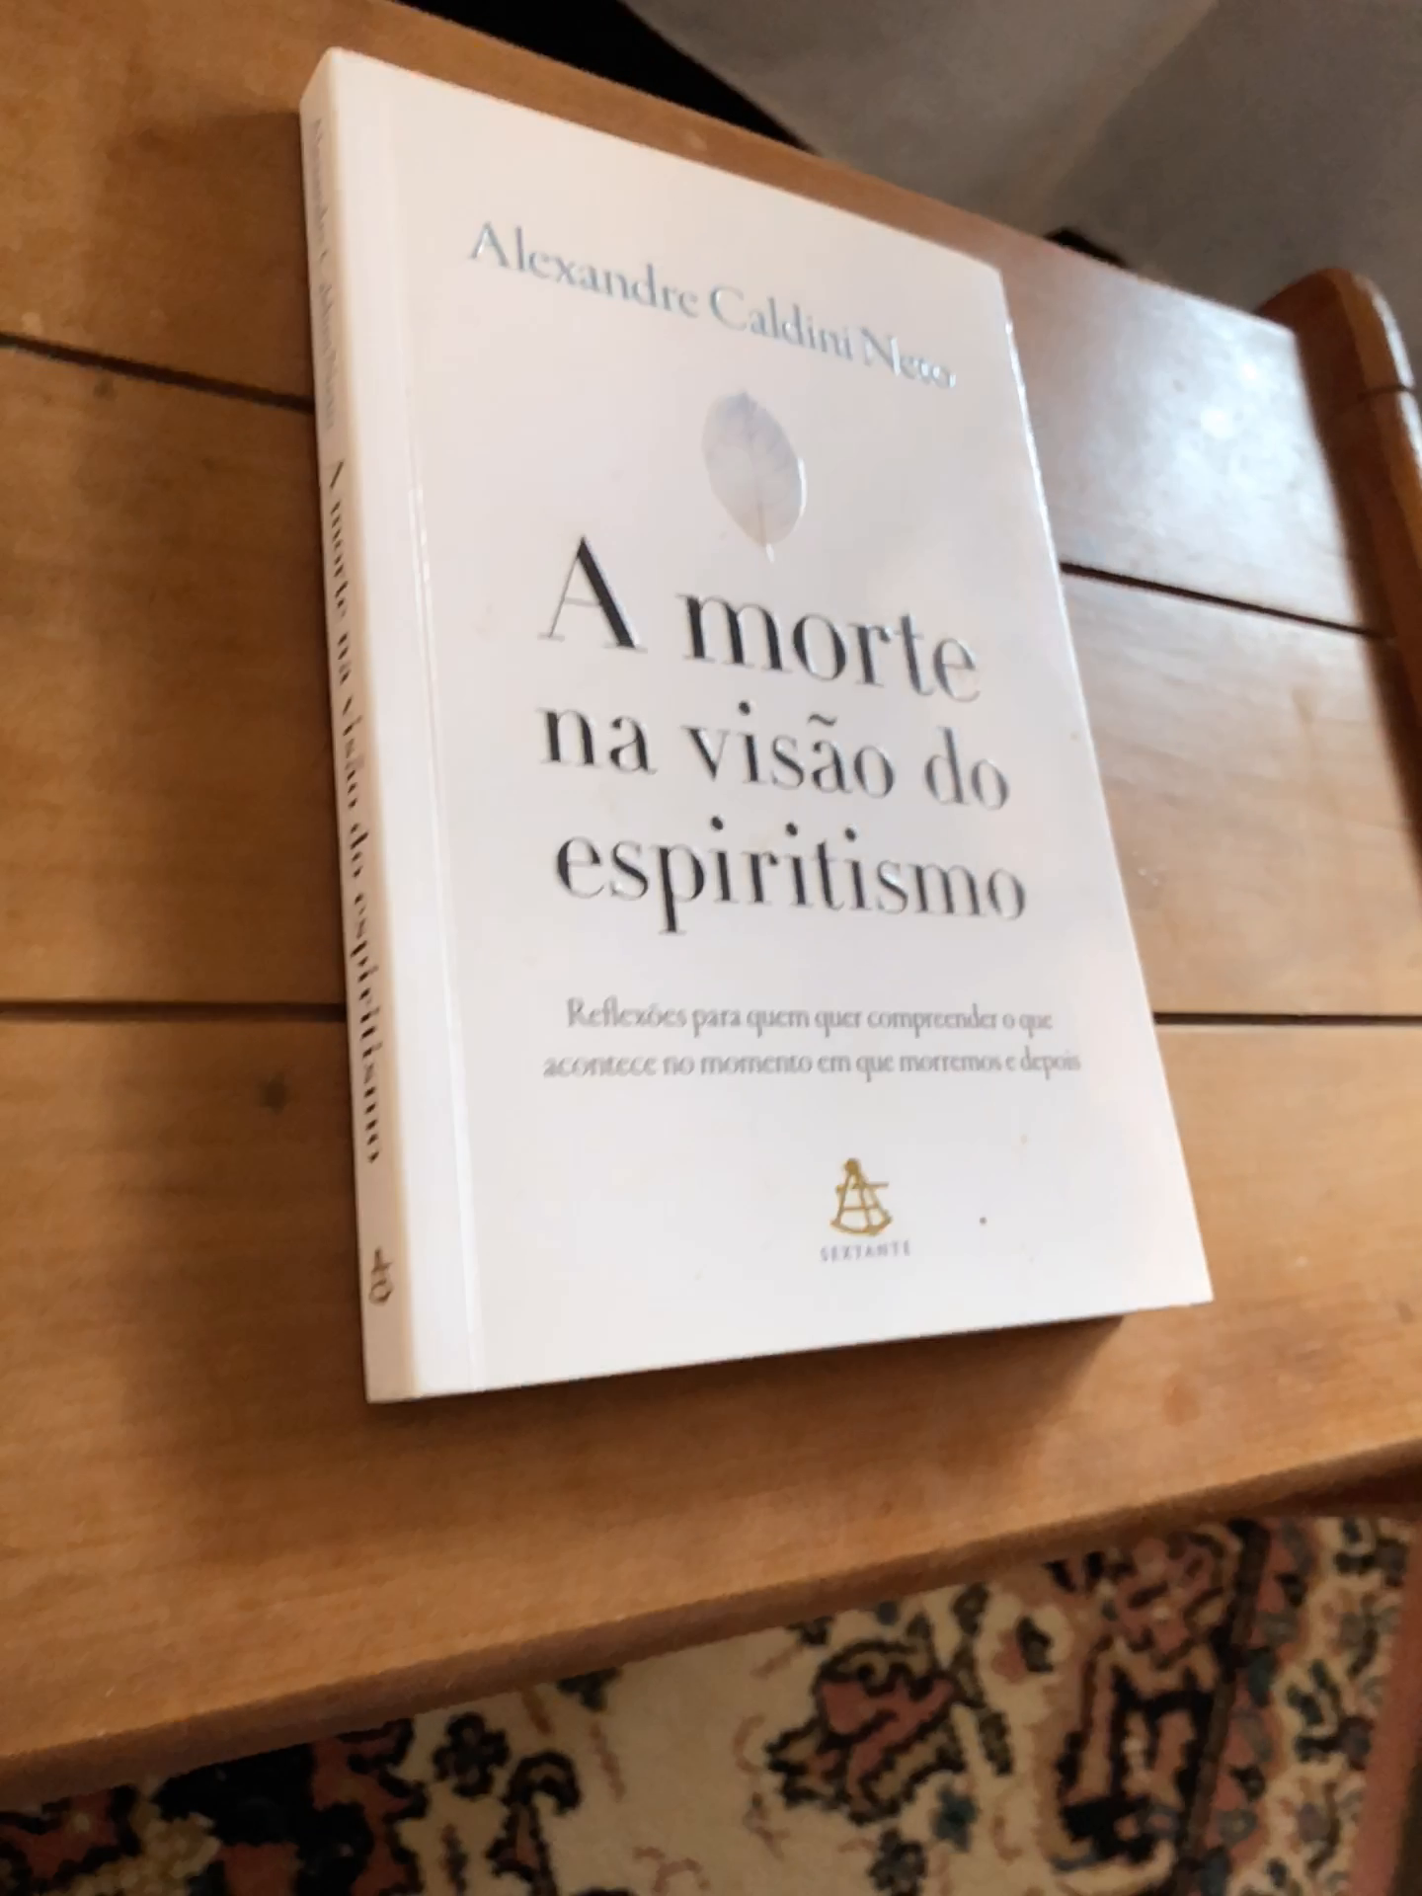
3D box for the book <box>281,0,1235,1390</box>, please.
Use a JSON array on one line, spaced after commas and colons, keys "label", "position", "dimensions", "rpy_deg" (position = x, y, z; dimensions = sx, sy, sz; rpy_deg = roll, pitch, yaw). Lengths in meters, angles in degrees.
[{"label": "book", "position": [0.007, -0.040, 0.248], "dimensions": [0.136, 0.020, 0.196], "rpy_deg": [3, 72, -31]}]
